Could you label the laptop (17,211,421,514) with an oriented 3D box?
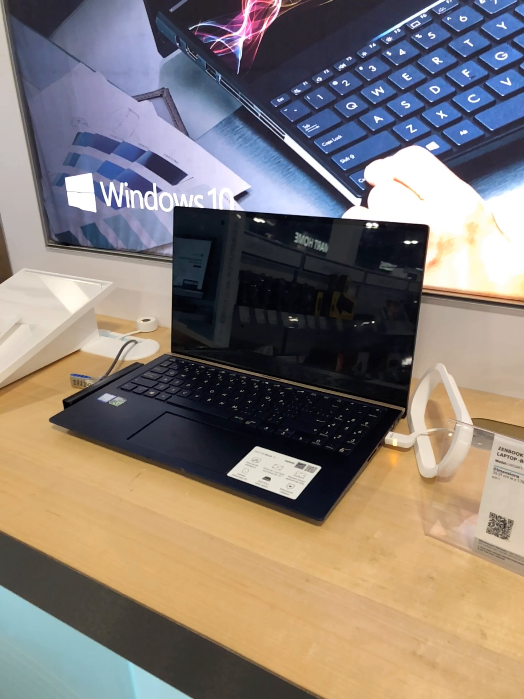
[{"bbox_3d":[-0.037,-0.024,0.633,0.337,0.196,0.250,12,27,31],"label":"laptop"}]
